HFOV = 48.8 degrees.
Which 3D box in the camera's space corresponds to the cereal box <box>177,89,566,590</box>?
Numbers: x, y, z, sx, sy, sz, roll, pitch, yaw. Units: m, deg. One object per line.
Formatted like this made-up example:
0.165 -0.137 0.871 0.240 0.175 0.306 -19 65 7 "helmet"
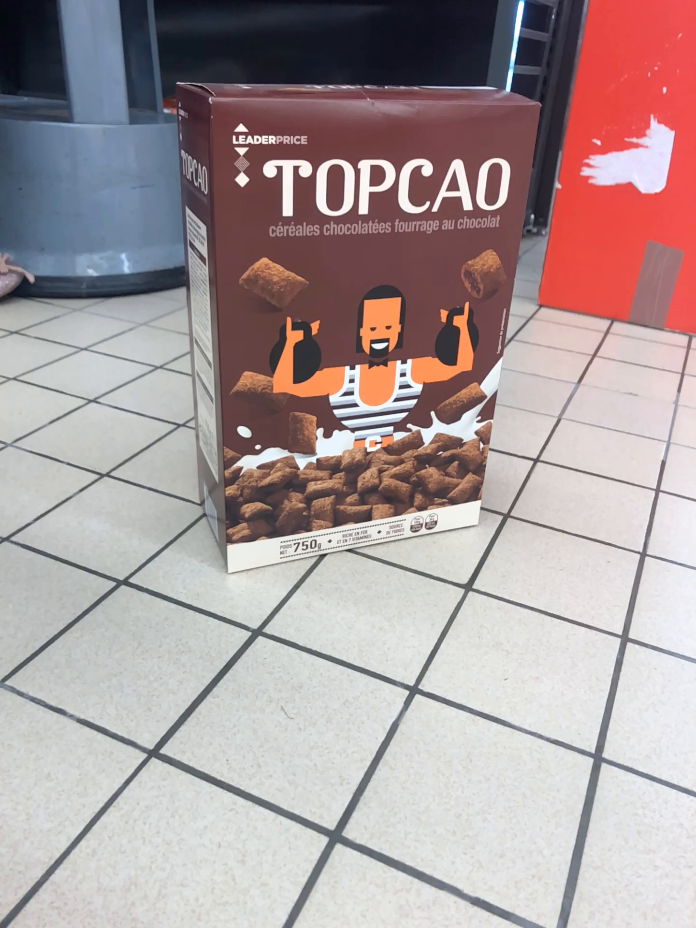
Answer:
0.007 -0.083 0.506 0.200 0.288 0.100 -9 29 -19 "cereal box"
